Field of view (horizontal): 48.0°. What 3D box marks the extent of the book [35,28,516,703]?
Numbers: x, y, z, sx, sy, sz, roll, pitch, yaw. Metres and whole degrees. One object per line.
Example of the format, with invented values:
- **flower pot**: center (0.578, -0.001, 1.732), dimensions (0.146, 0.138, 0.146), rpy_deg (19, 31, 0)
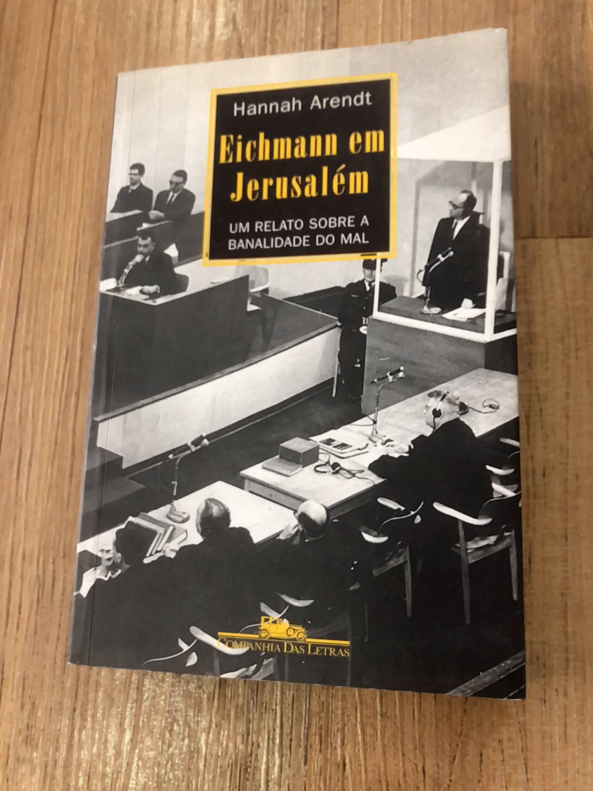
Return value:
- **book**: center (-0.005, -0.015, 0.220), dimensions (0.140, 0.030, 0.200), rpy_deg (0, 80, 10)
